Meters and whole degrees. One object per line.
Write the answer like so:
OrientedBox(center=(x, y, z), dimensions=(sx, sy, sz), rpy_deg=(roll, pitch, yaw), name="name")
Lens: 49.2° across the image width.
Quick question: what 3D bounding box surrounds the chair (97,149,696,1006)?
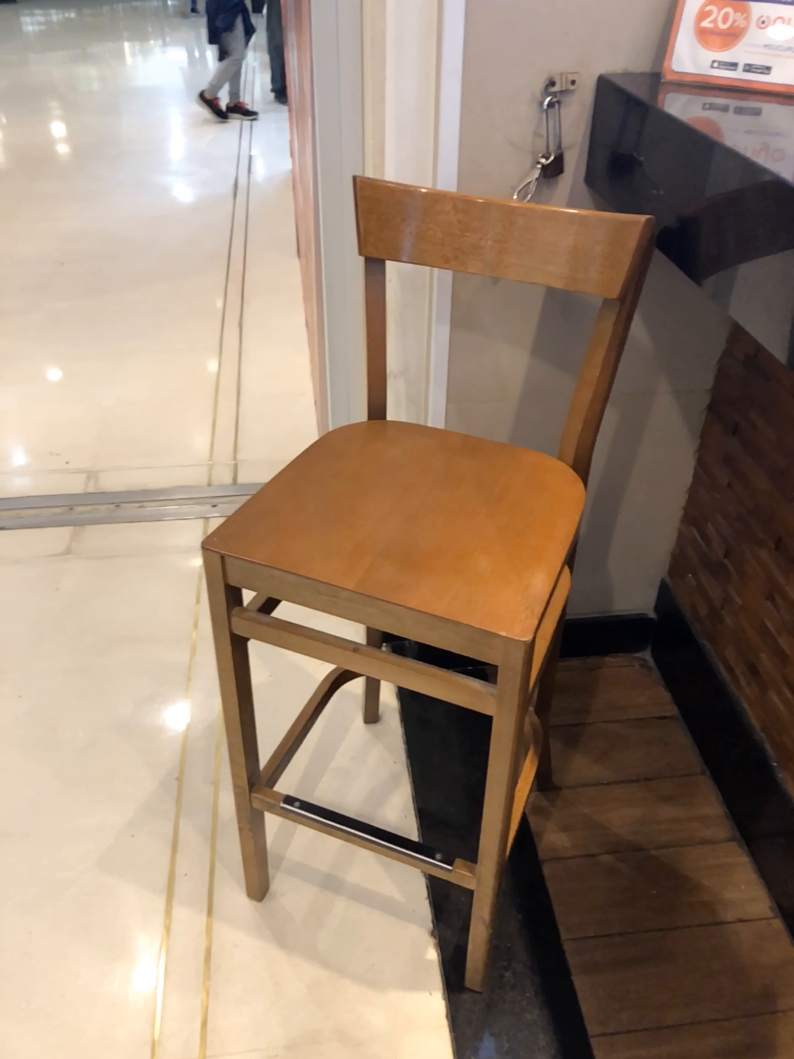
OrientedBox(center=(0.038, 0.079, 1.216), dimensions=(0.480, 0.992, 0.534), rpy_deg=(13, 38, 16), name="chair")
